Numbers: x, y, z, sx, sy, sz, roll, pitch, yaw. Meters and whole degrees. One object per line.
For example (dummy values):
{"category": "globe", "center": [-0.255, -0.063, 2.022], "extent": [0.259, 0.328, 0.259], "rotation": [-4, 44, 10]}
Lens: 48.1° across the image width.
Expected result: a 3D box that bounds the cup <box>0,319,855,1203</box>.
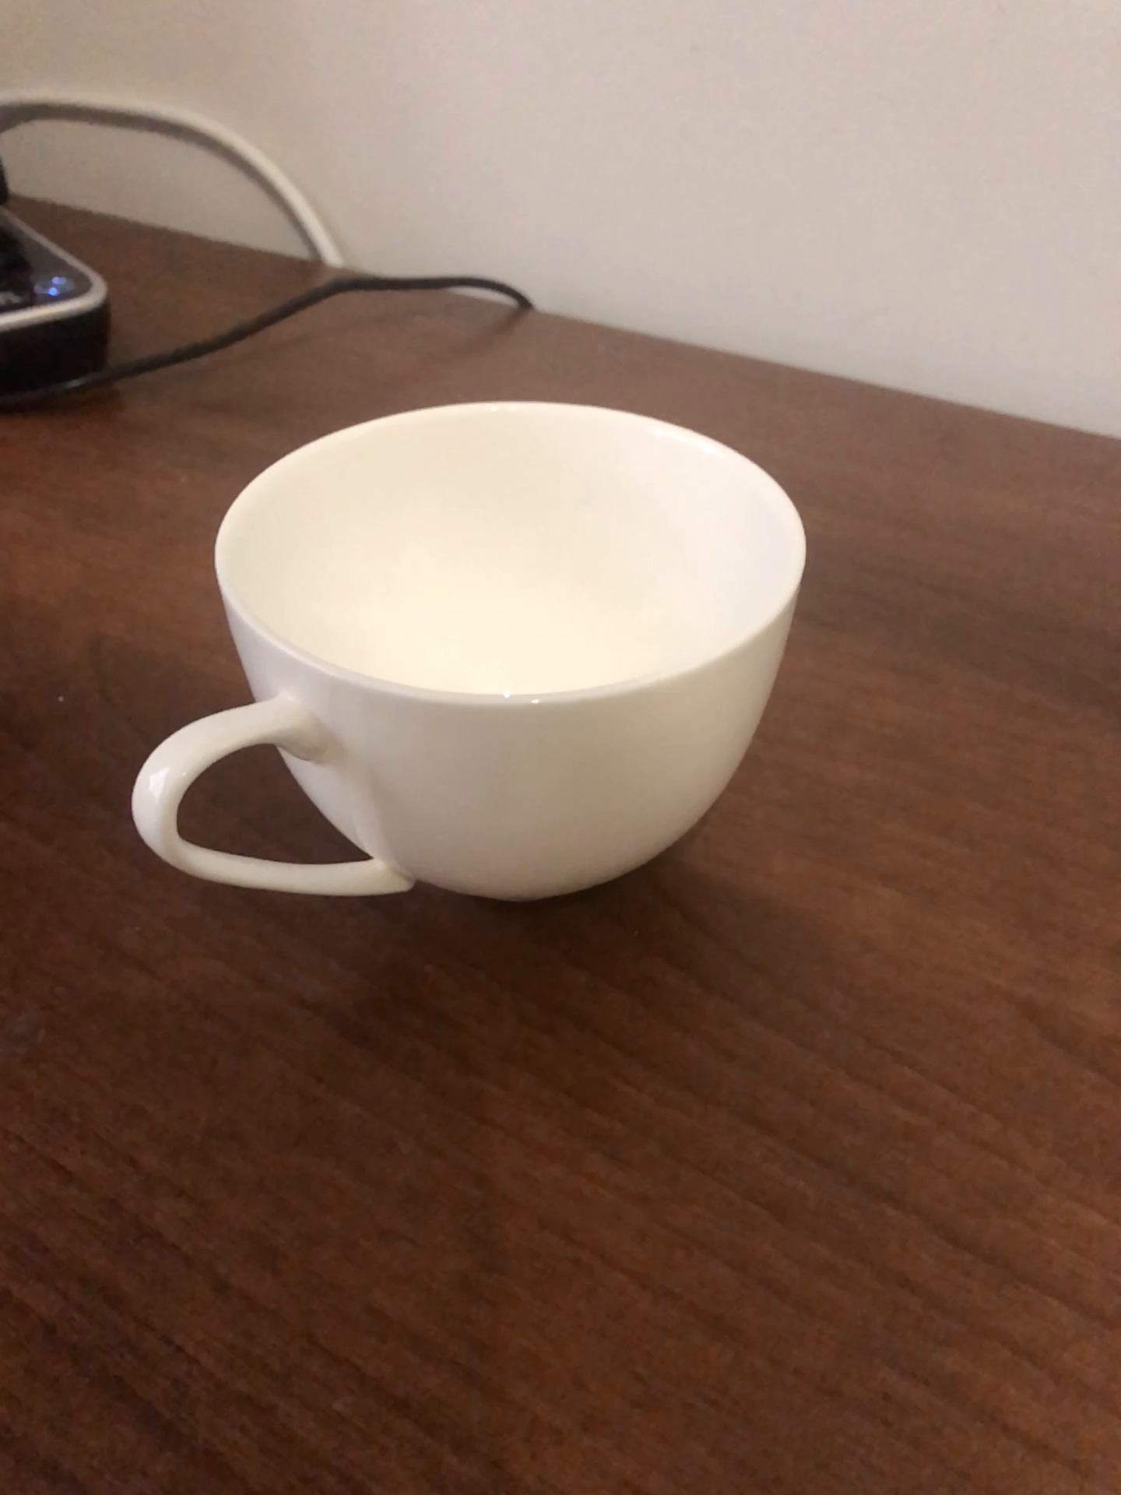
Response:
{"category": "cup", "center": [-0.027, -0.010, 0.203], "extent": [0.090, 0.069, 0.110], "rotation": [31, 47, 33]}
